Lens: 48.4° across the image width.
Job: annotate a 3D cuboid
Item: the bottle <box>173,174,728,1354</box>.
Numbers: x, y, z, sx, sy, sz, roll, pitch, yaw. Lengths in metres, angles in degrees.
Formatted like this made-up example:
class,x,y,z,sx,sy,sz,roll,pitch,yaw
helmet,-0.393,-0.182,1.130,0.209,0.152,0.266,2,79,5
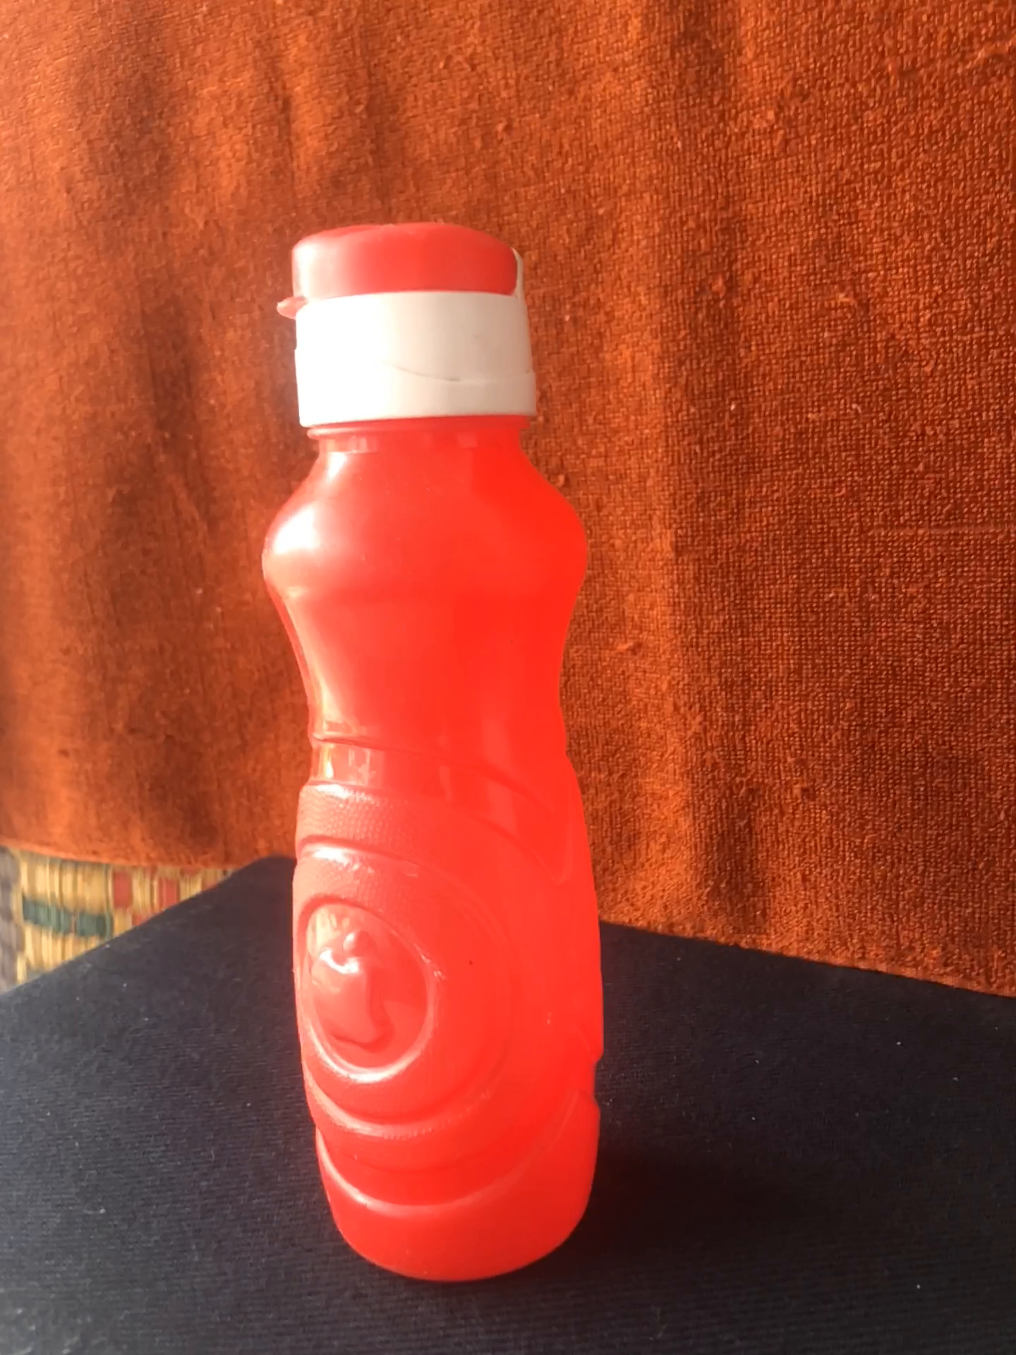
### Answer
class,x,y,z,sx,sy,sz,roll,pitch,yaw
bottle,-0.006,0.019,0.247,0.080,0.219,0.070,8,17,39
